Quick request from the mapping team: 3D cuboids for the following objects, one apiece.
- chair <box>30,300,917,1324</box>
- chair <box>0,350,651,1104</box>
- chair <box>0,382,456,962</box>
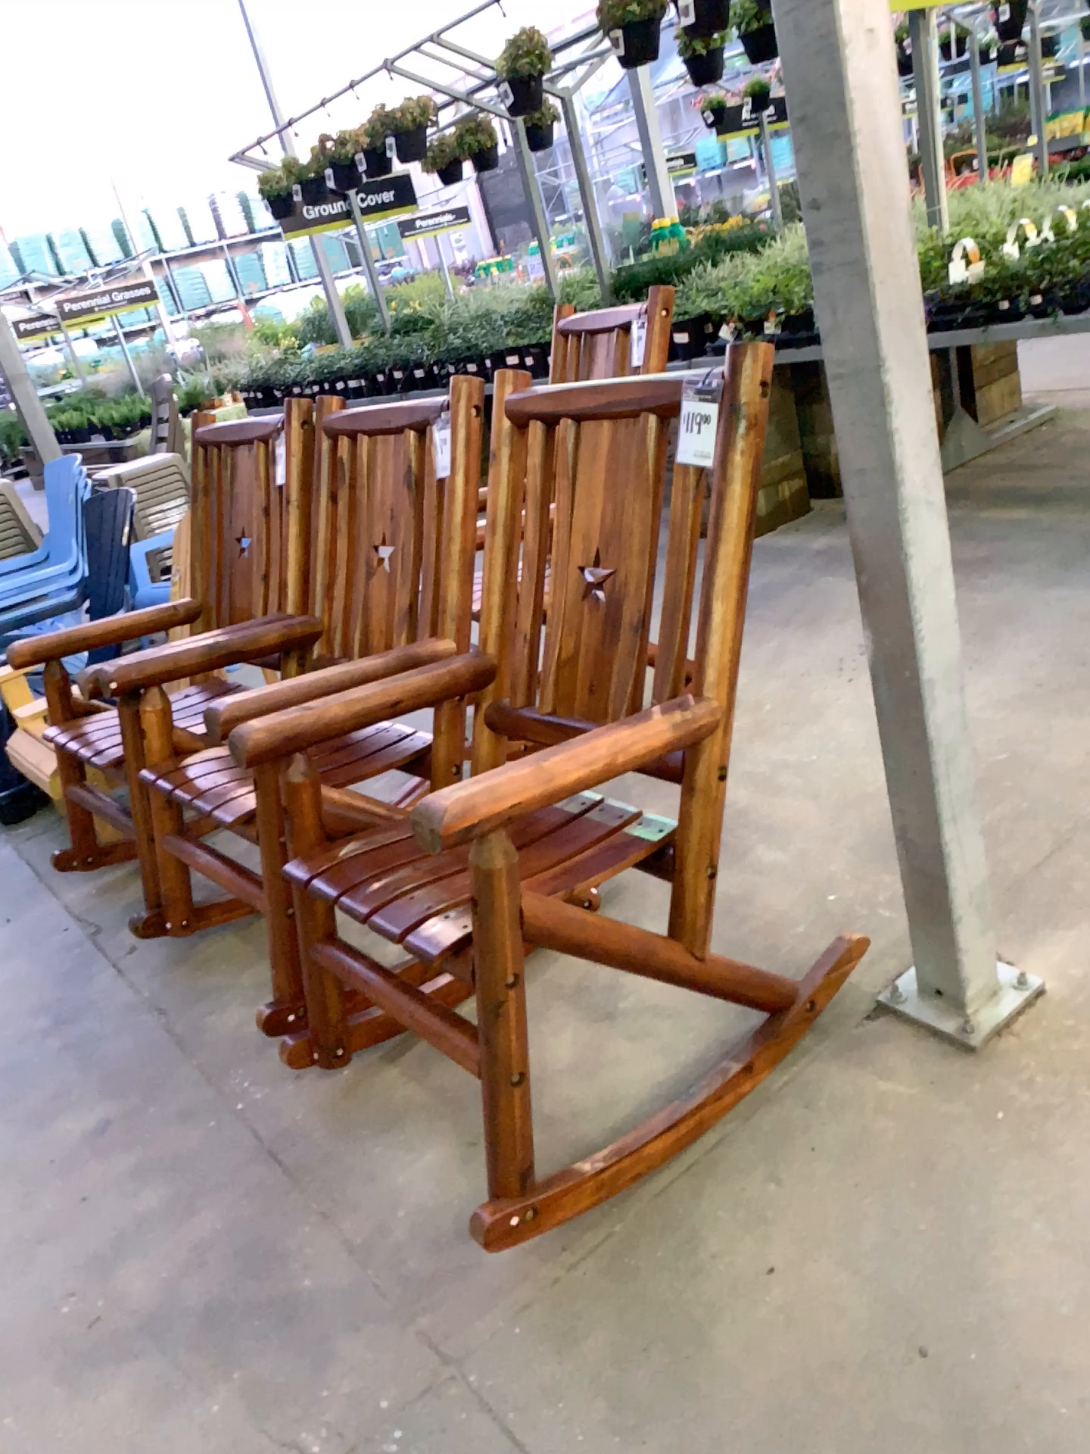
[{"bbox_3d":[-0.030,0.048,1.847,1.019,1.158,0.675,-30,27,-30],"label":"chair"},{"bbox_3d":[-0.478,-0.071,2.406,1.019,1.158,0.675,-29,27,-30],"label":"chair"},{"bbox_3d":[-0.992,-0.207,3.048,1.019,1.158,0.675,-29,27,-30],"label":"chair"}]
